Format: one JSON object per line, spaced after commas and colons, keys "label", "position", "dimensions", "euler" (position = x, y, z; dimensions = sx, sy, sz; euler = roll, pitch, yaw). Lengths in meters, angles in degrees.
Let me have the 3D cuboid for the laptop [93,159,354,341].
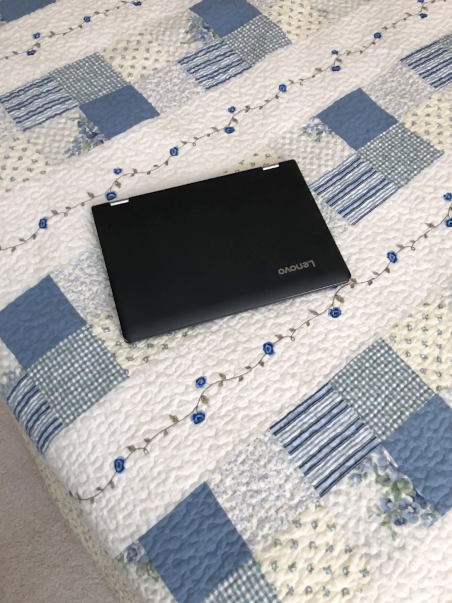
{"label": "laptop", "position": [-0.010, -0.087, 0.711], "dimensions": [0.320, 0.008, 0.224], "euler": [-15, 64, -10]}
